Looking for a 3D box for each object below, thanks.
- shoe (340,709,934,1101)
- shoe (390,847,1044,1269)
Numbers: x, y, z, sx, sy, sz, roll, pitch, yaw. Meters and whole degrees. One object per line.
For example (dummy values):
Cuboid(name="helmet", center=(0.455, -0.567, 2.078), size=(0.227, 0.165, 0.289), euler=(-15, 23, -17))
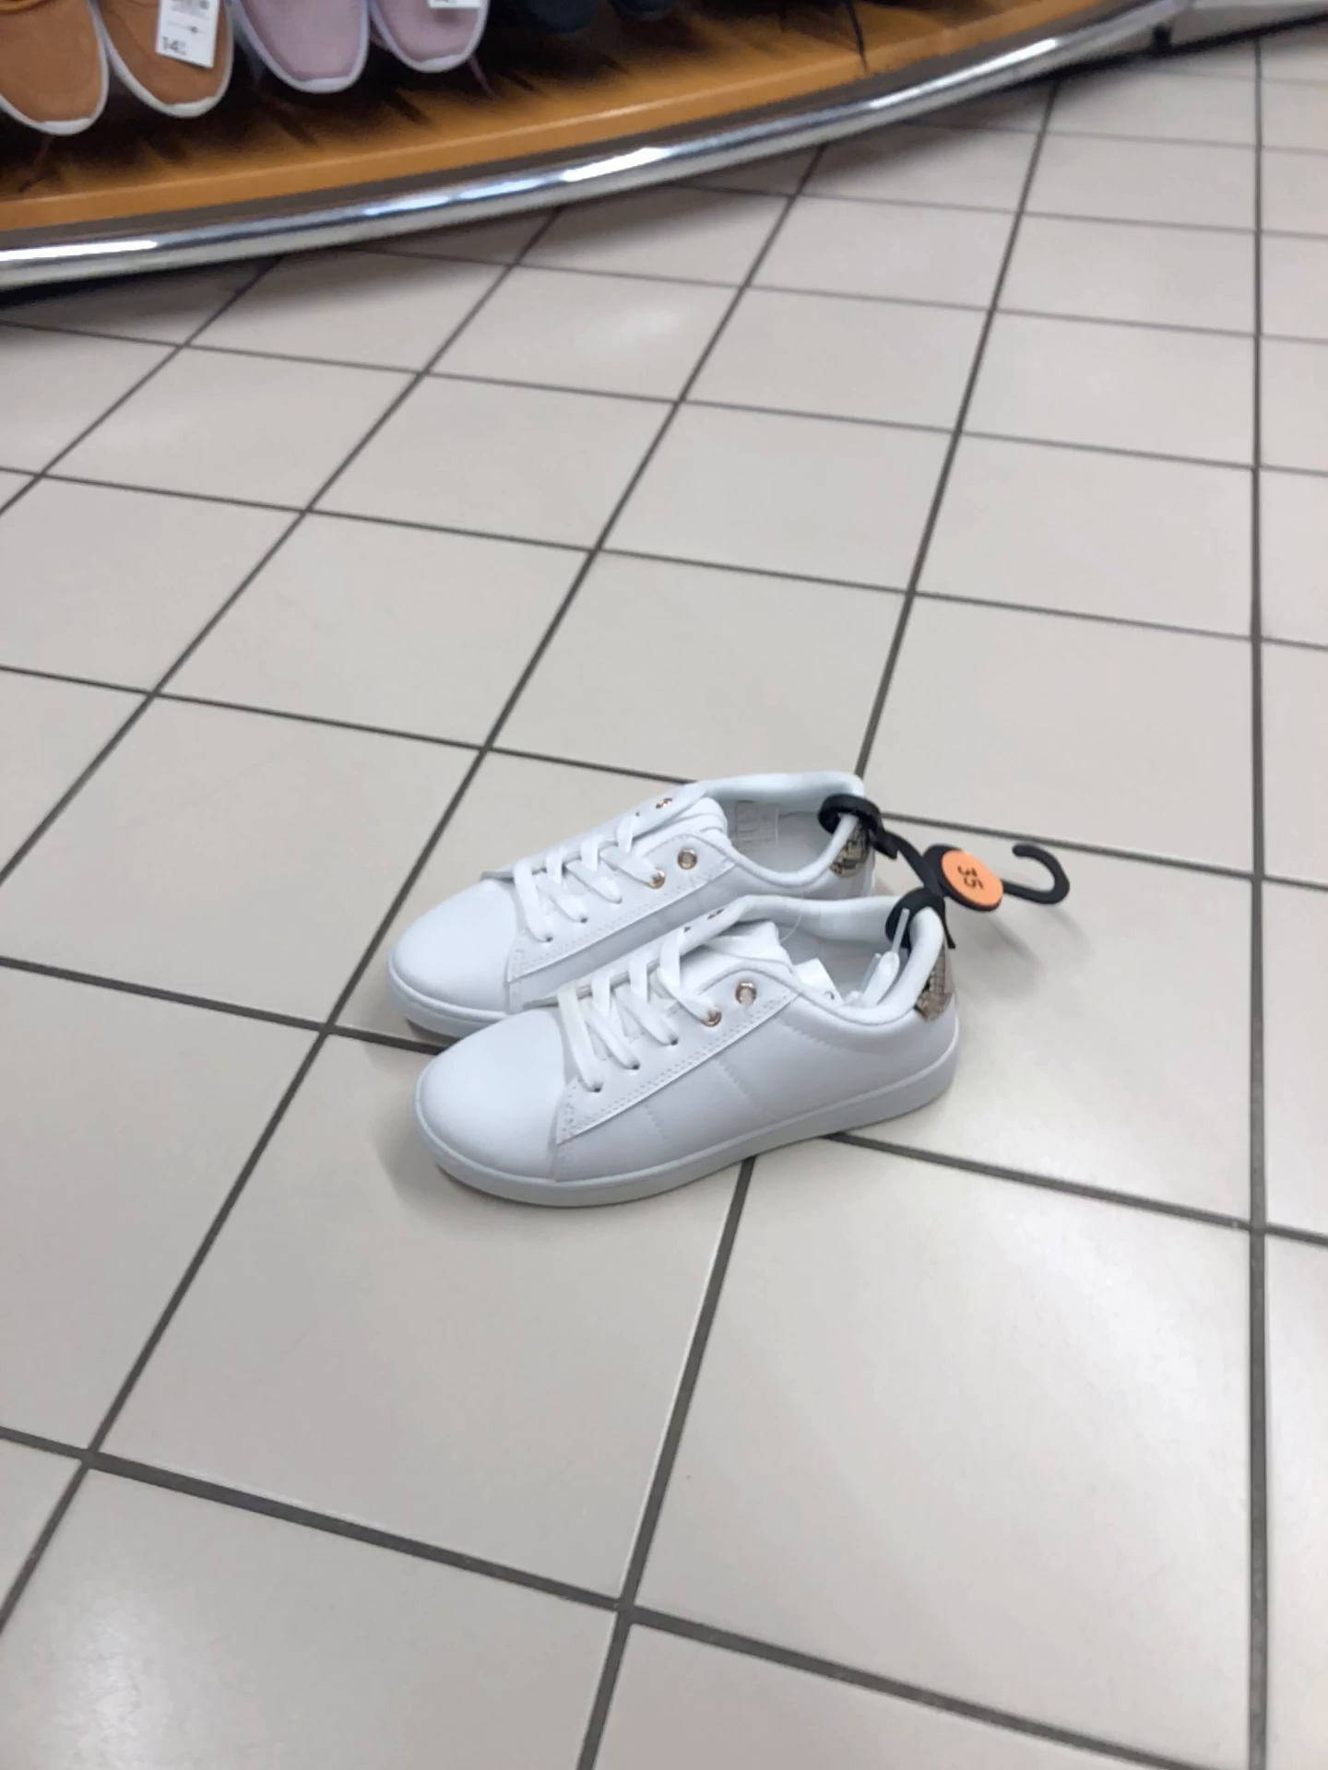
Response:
Cuboid(name="shoe", center=(-0.011, 0.005, 0.662), size=(0.240, 0.080, 0.090), euler=(-15, 47, -13))
Cuboid(name="shoe", center=(0.020, 0.068, 0.603), size=(0.240, 0.080, 0.090), euler=(-12, 46, -11))
